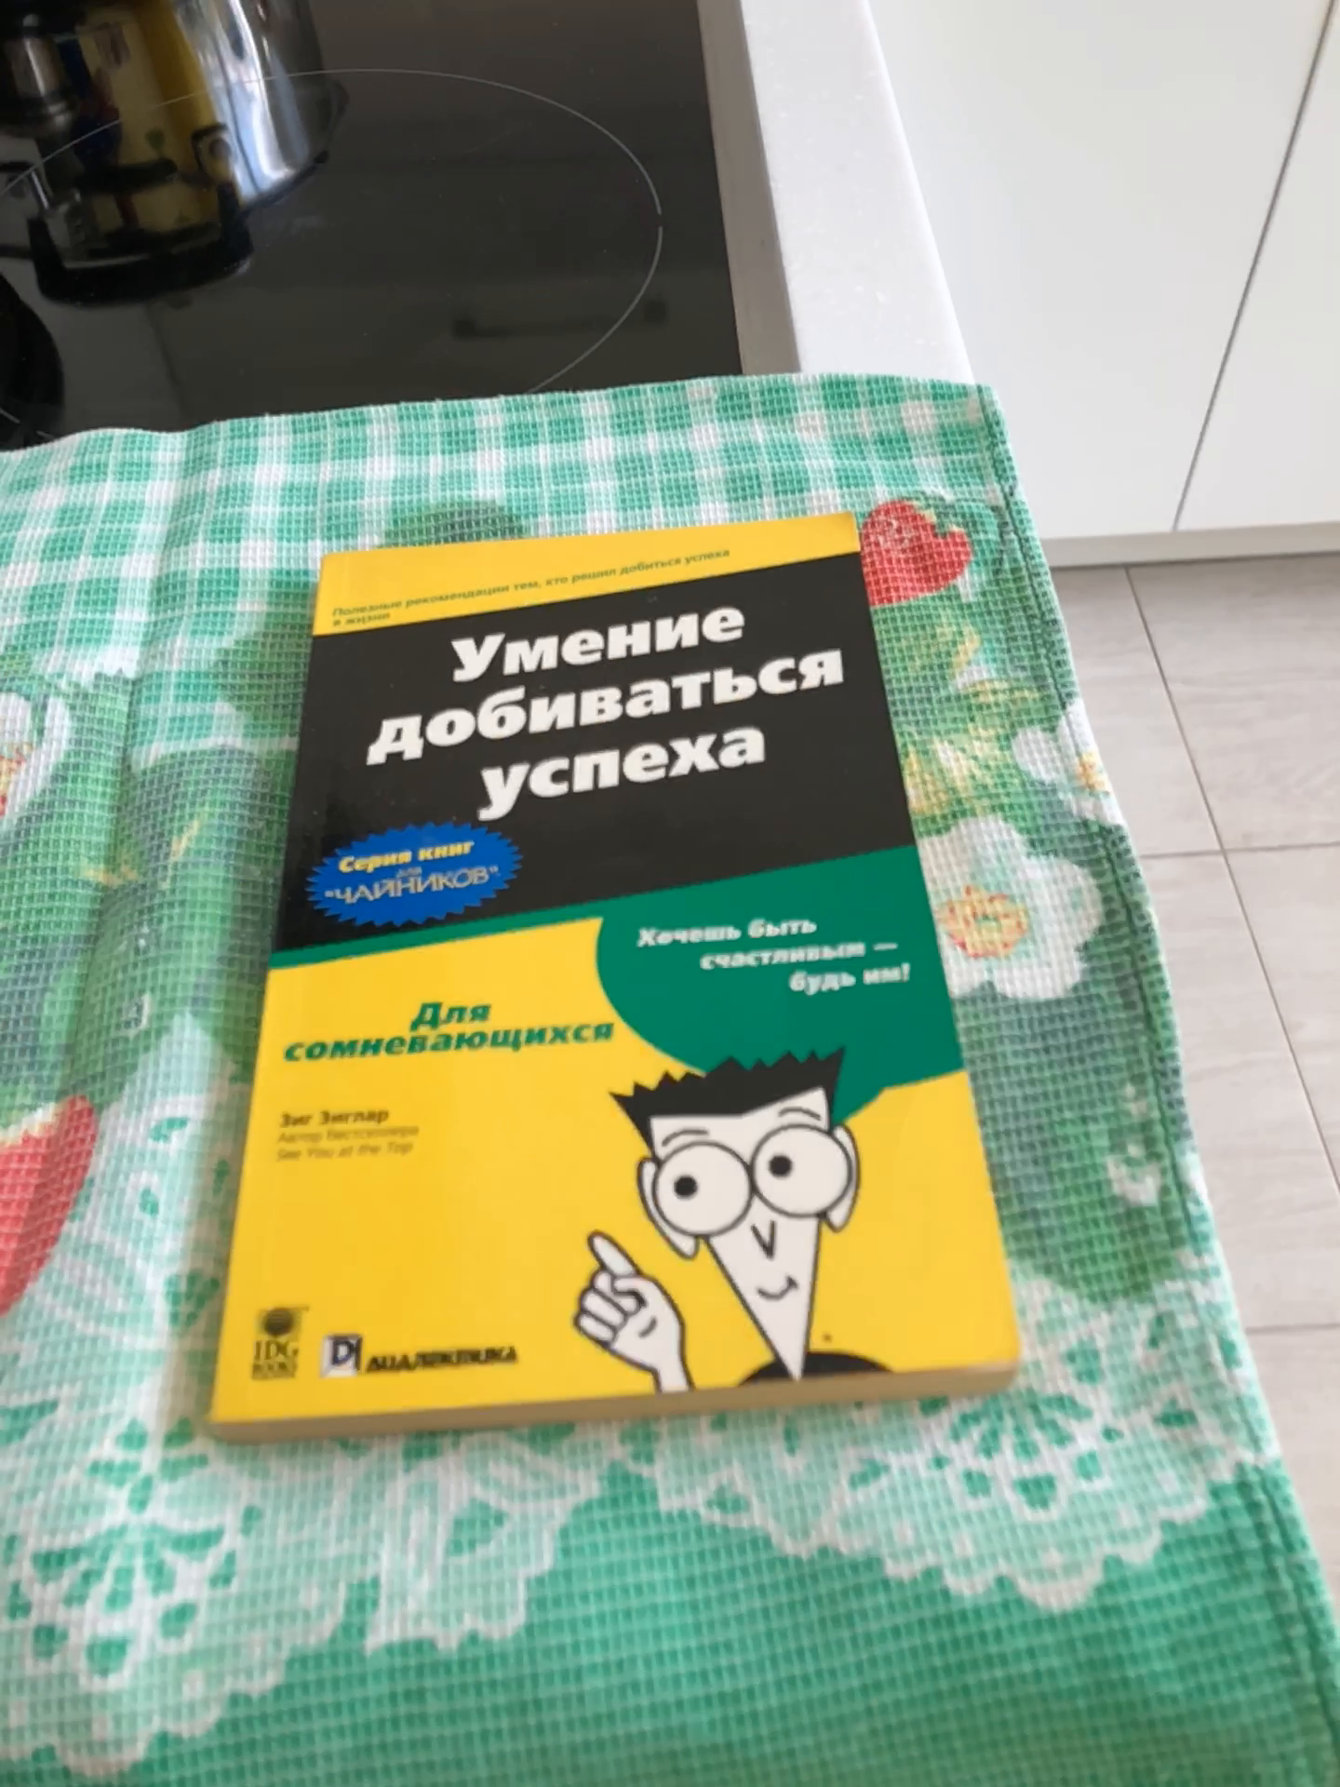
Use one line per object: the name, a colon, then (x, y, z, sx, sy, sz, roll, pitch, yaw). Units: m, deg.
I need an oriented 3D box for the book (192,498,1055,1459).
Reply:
book: (-0.010, 0.000, 0.251, 0.113, 0.017, 0.173, -5, 53, 2)
